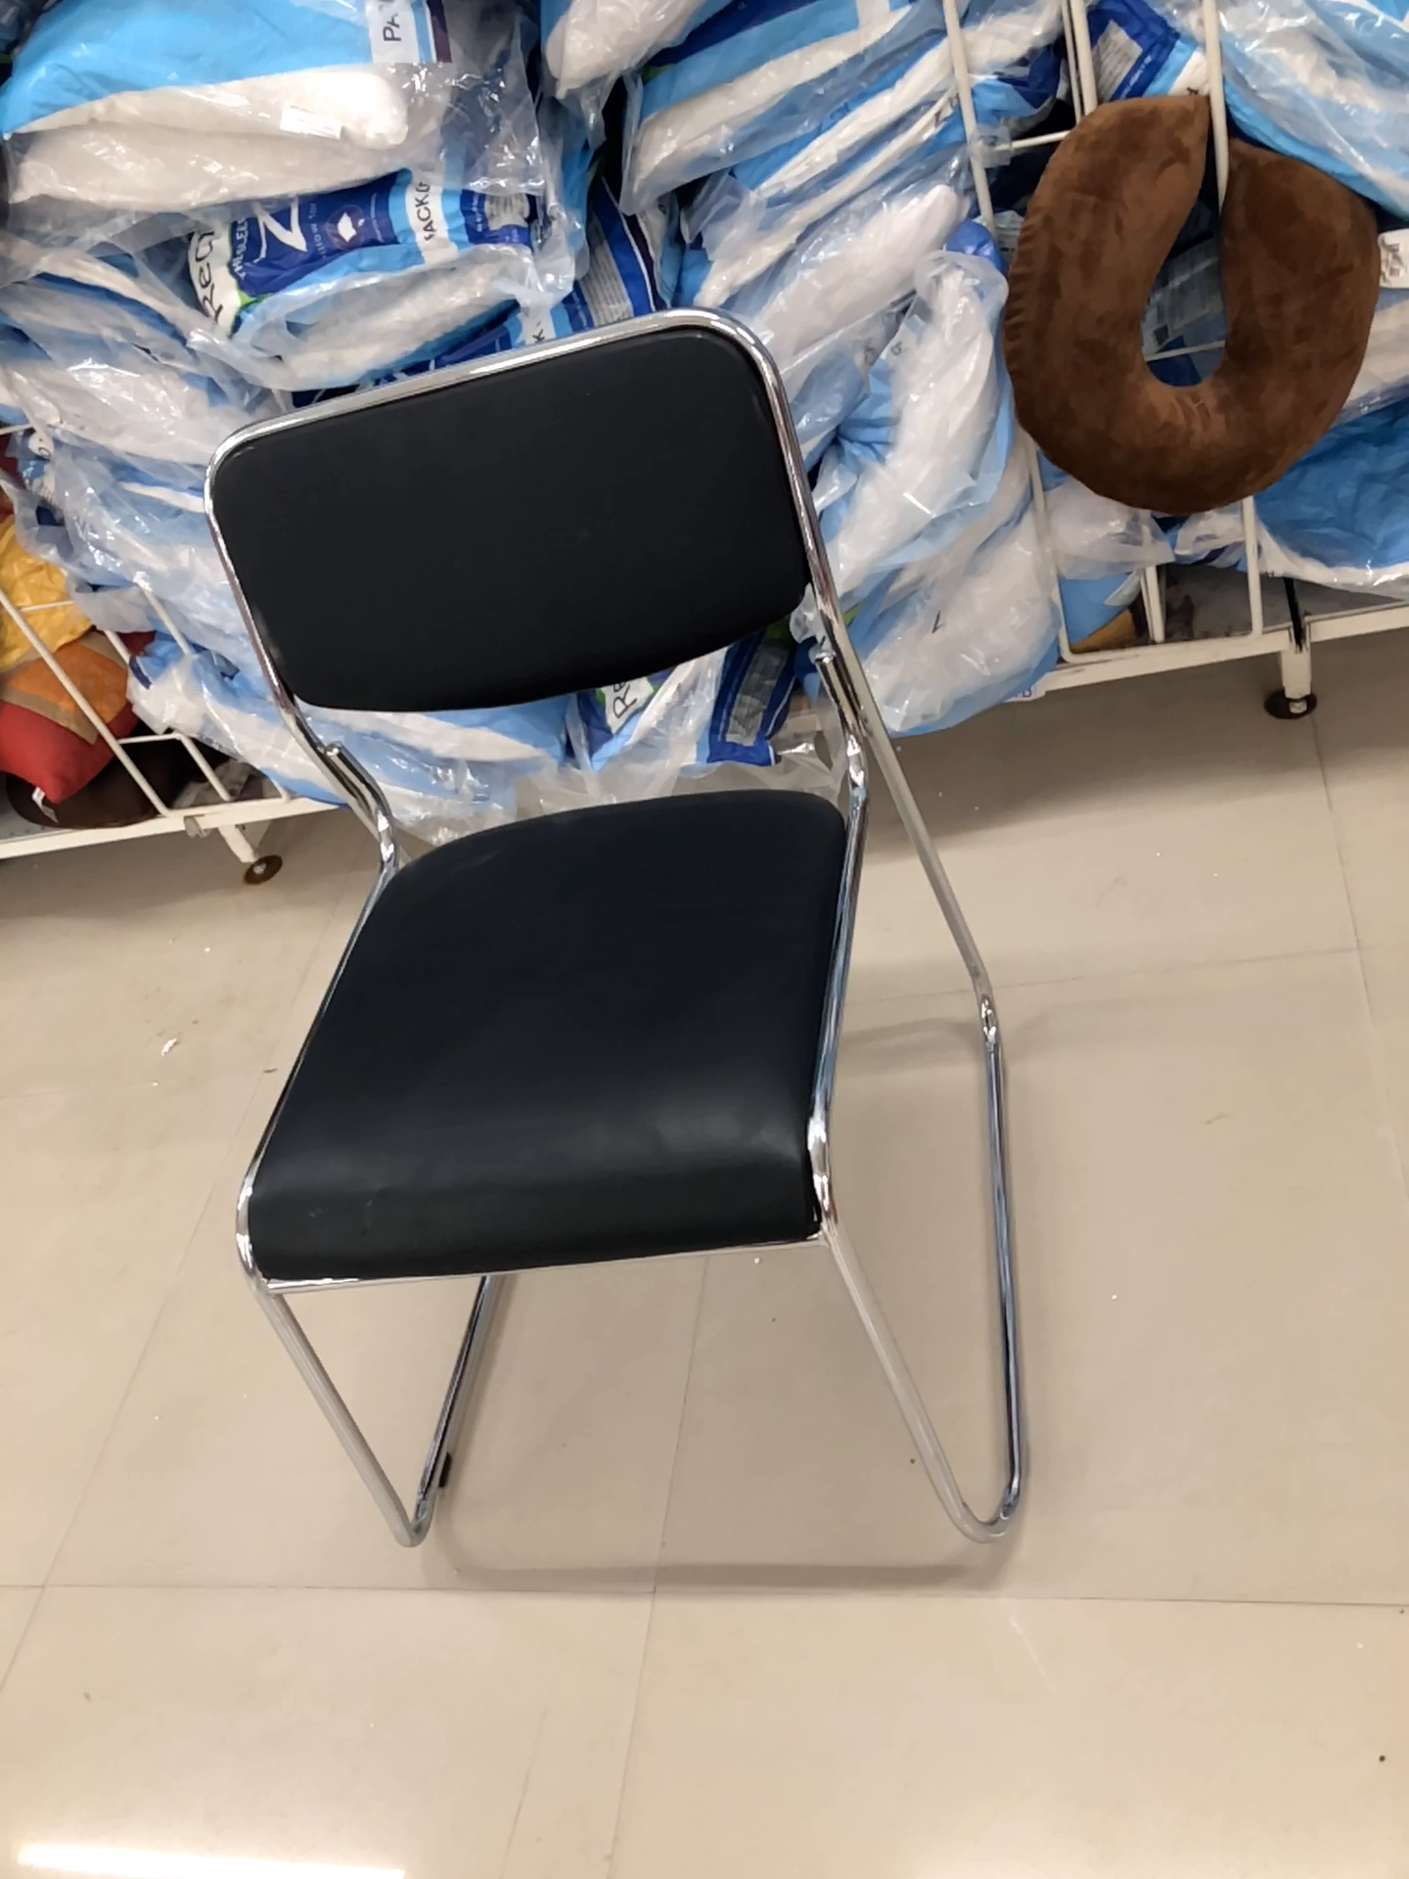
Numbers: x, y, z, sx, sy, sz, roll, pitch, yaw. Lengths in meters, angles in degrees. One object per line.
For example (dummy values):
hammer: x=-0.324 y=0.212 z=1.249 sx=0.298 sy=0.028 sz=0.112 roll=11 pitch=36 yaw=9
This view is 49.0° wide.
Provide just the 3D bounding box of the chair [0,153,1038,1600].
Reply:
chair: x=-0.113 y=0.023 z=1.112 sx=0.570 sy=0.796 sz=0.563 roll=-7 pitch=44 yaw=18
